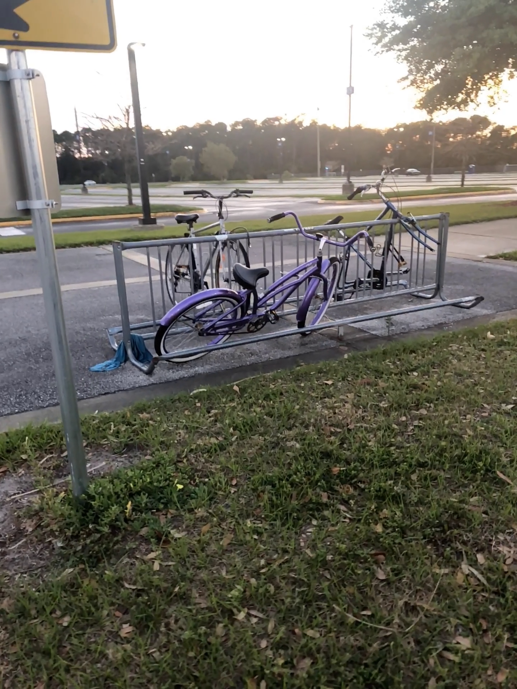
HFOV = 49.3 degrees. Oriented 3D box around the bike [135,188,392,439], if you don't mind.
[{"bbox_3d":[0.089,-0.374,3.852,1.704,1.117,0.851,-19,23,-36],"label":"bike"}]
